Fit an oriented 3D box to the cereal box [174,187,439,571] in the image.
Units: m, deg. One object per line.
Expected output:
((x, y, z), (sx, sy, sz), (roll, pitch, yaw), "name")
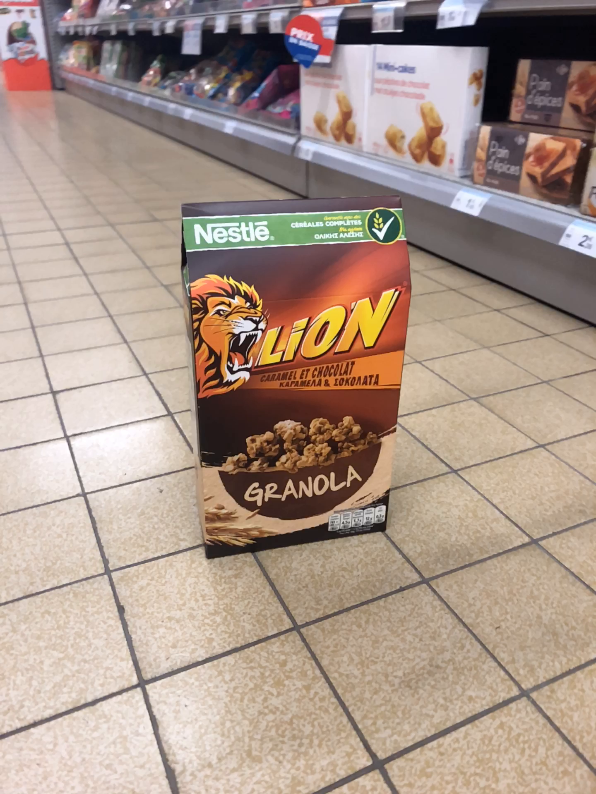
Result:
((0.000, -0.011, 0.466), (0.150, 0.249, 0.080), (-6, 28, -13), "cereal box")
